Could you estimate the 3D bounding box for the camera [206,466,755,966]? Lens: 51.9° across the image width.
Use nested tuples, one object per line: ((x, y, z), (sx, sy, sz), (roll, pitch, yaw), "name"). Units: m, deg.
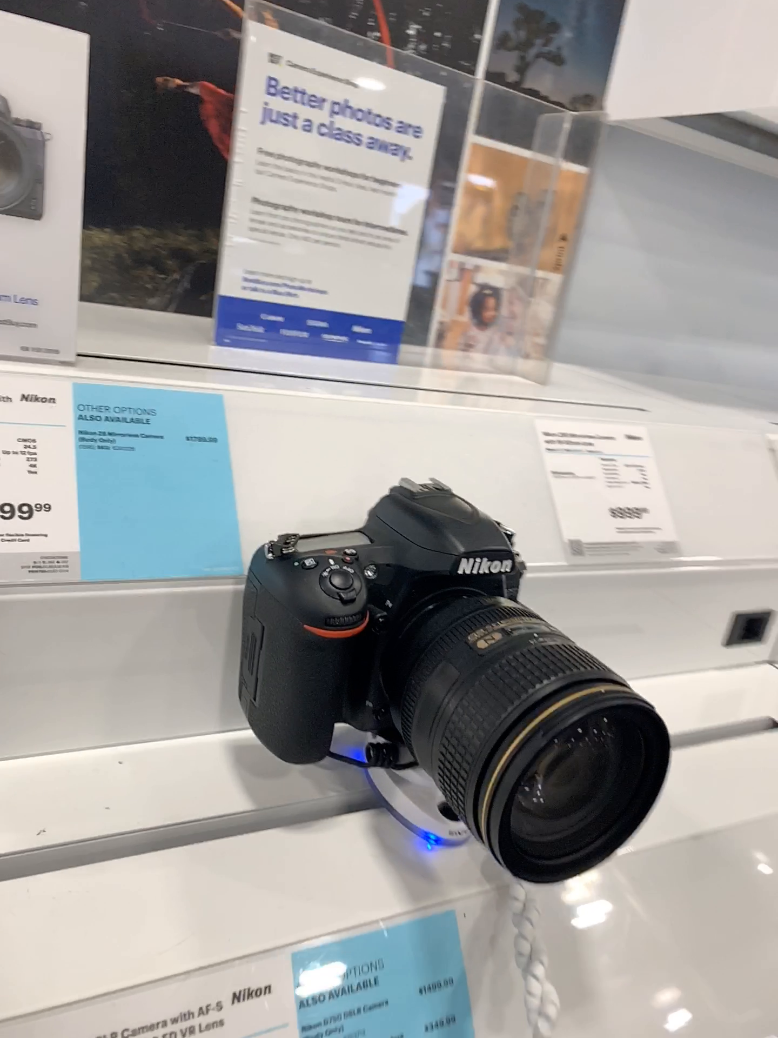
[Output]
((0.023, 0.058, 0.350), (0.140, 0.111, 0.181), (-2, 22, -33), "camera")
